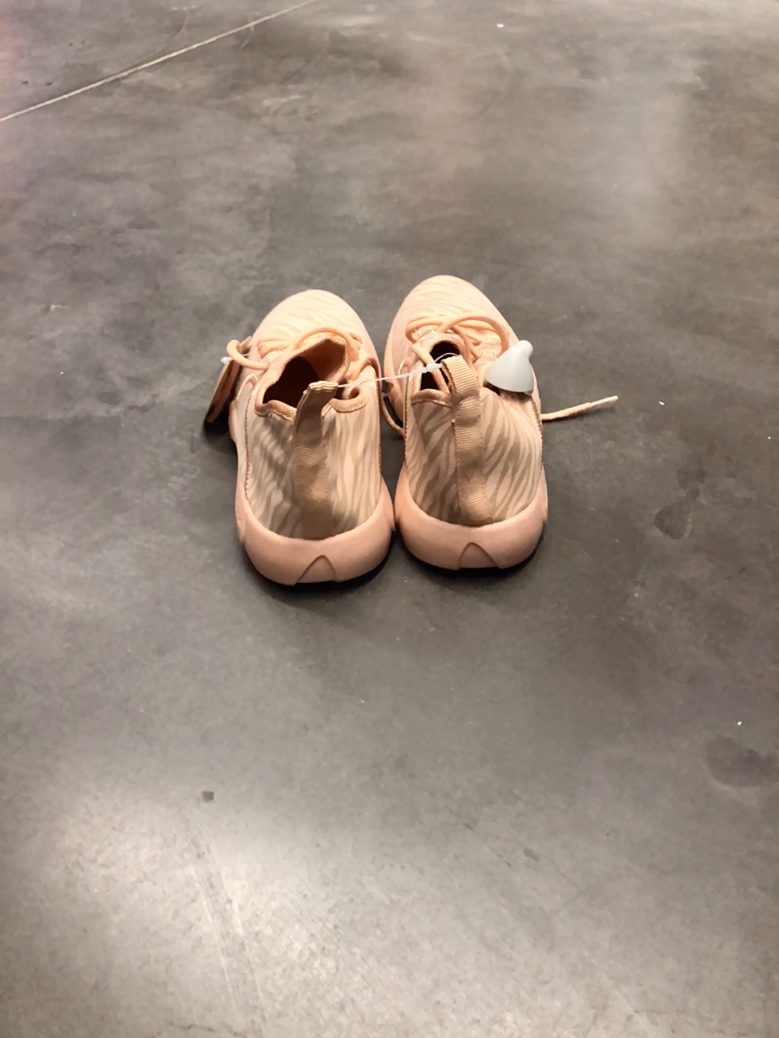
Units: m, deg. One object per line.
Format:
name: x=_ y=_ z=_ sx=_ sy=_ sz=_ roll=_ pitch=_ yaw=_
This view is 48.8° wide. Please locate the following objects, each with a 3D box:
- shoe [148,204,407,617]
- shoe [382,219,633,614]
shoe: x=-0.051 y=-0.071 z=0.453 sx=0.100 sy=0.099 sz=0.231 roll=-3 pitch=41 yaw=-3
shoe: x=0.048 y=-0.069 z=0.469 sx=0.100 sy=0.099 sz=0.231 roll=-1 pitch=41 yaw=0
